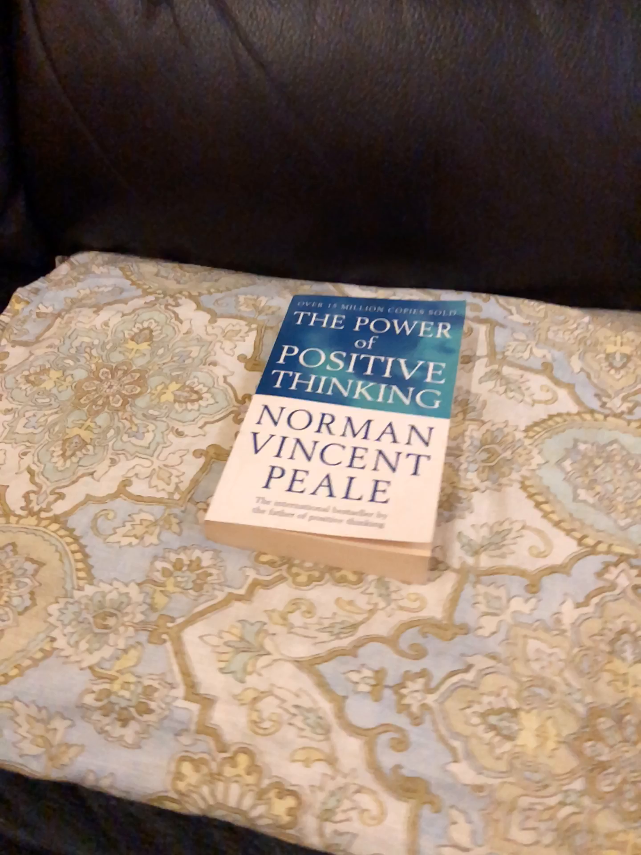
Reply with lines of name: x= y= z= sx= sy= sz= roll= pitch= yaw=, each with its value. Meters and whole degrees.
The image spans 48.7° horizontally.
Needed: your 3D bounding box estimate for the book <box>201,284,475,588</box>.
book: x=0.019 y=-0.007 z=0.405 sx=0.120 sy=0.030 sz=0.183 roll=7 pitch=51 yaw=10
